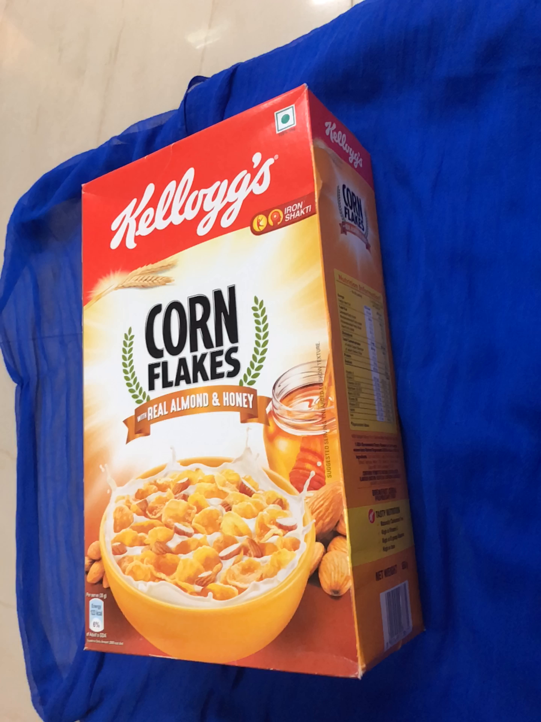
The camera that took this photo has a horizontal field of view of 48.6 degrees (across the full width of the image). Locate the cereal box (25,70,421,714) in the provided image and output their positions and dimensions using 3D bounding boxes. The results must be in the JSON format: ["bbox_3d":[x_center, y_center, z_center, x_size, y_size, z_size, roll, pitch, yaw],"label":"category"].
[{"bbox_3d":[-0.042,0.021,0.367,0.211,0.090,0.300,-10,78,30],"label":"cereal box"}]
